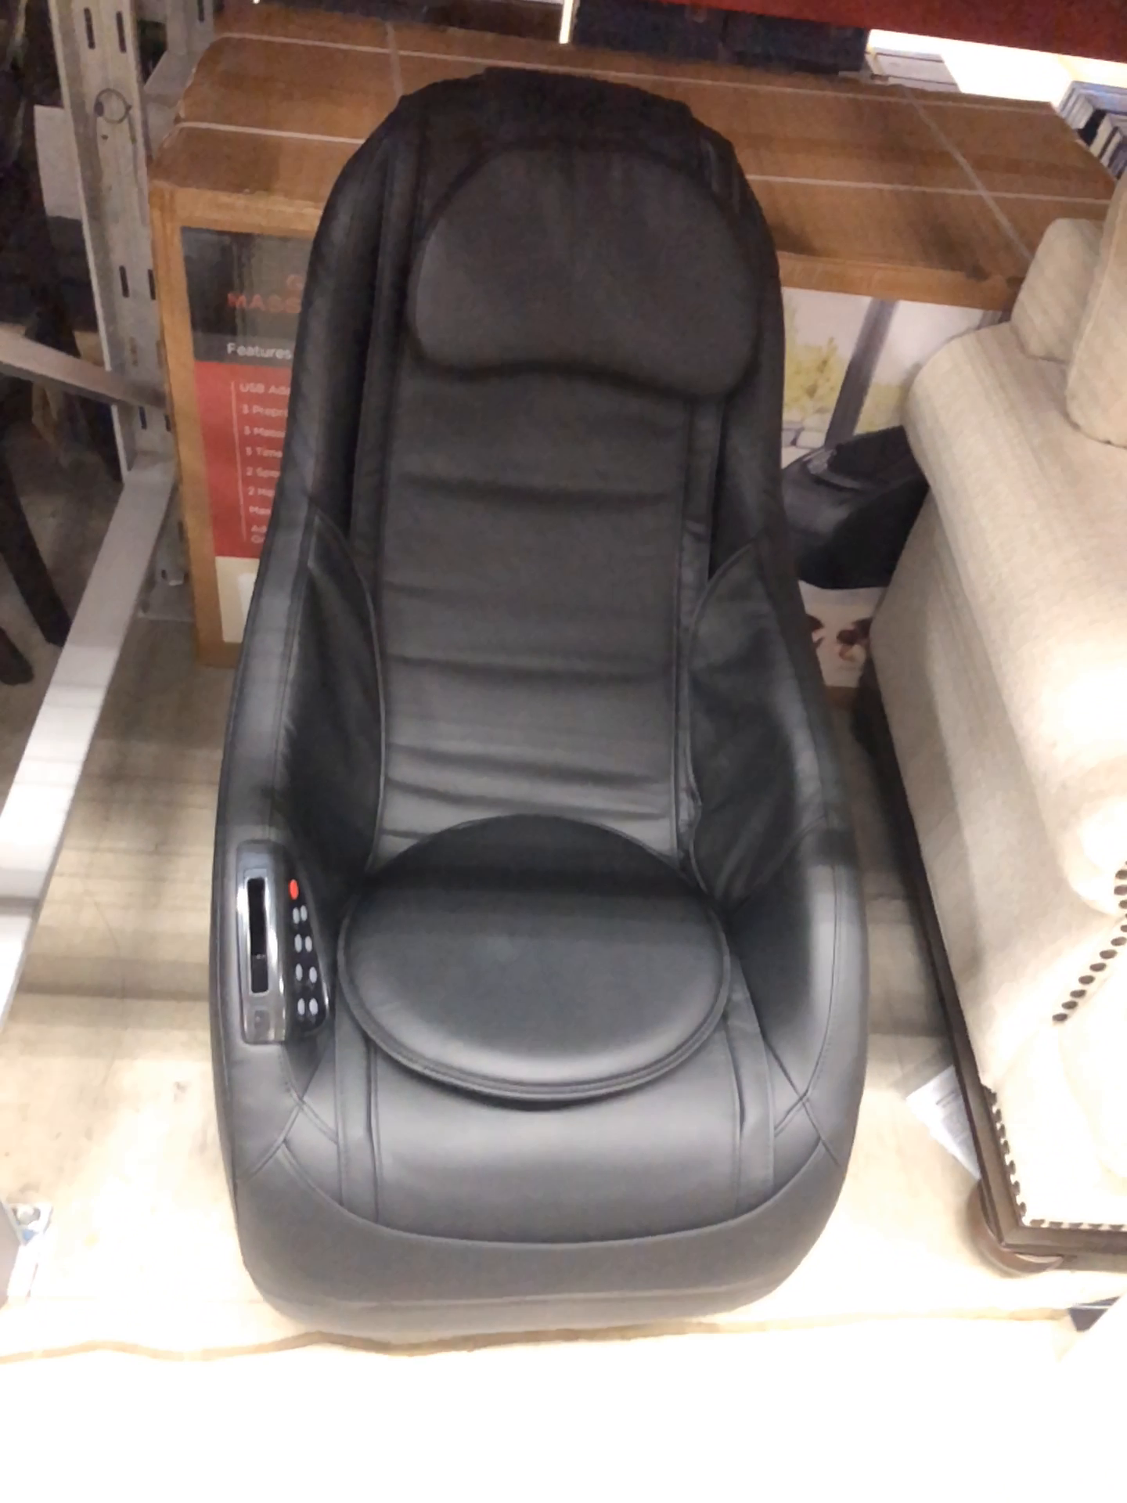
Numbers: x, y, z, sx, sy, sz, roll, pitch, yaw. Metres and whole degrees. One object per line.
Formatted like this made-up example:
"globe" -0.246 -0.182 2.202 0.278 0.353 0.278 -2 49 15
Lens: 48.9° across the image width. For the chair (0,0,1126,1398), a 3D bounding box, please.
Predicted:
"chair" -0.025 -0.008 1.018 0.650 0.848 0.701 1 46 -10
